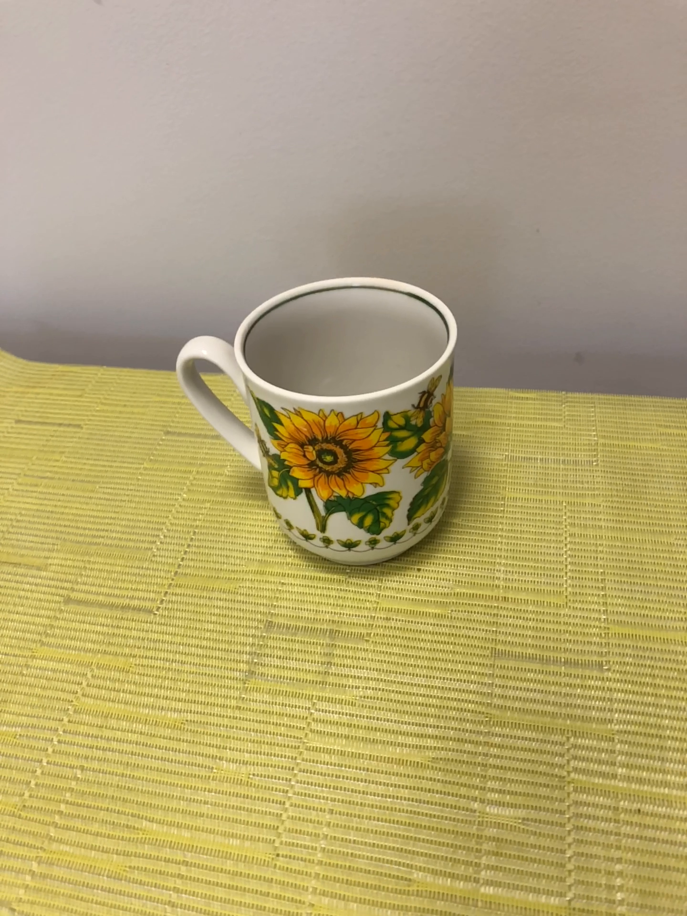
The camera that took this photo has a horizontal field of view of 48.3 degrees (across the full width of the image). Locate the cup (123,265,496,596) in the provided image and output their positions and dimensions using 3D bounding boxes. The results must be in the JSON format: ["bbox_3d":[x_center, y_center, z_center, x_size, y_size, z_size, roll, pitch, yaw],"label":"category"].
[{"bbox_3d":[-0.006,-0.016,0.309,0.116,0.084,0.088,8,41,15],"label":"cup"}]
